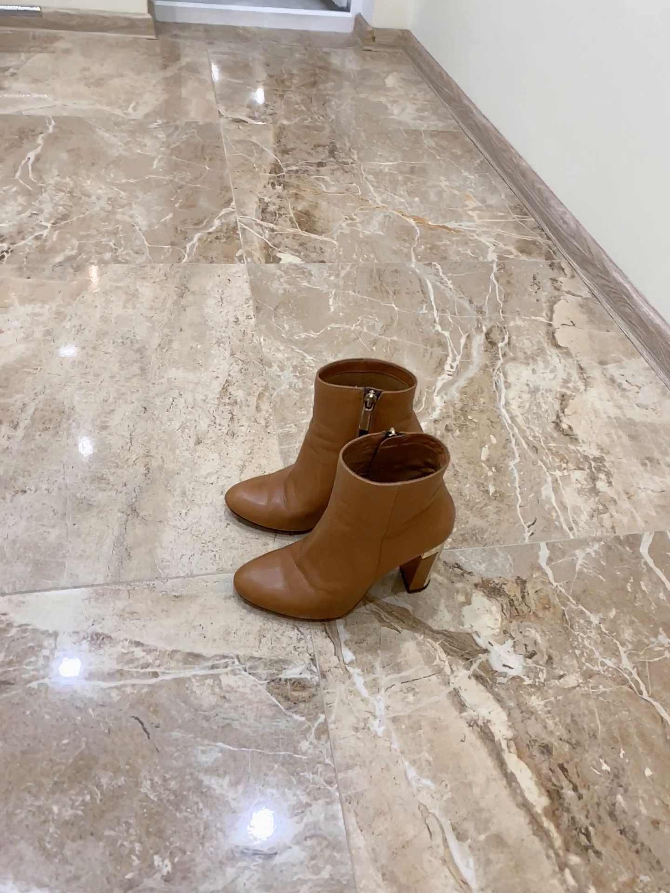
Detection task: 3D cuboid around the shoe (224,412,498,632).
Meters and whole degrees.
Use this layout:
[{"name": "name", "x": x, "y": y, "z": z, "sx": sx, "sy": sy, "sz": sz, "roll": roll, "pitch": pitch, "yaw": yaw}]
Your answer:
[{"name": "shoe", "x": 0.010, "y": 0.070, "z": 0.619, "sx": 0.210, "sy": 0.175, "sz": 0.090, "roll": -4, "pitch": 46, "yaw": -12}]

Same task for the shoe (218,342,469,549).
[{"name": "shoe", "x": 0.000, "y": 0.005, "z": 0.694, "sx": 0.220, "sy": 0.185, "sz": 0.090, "roll": 4, "pitch": 45, "yaw": -4}]
